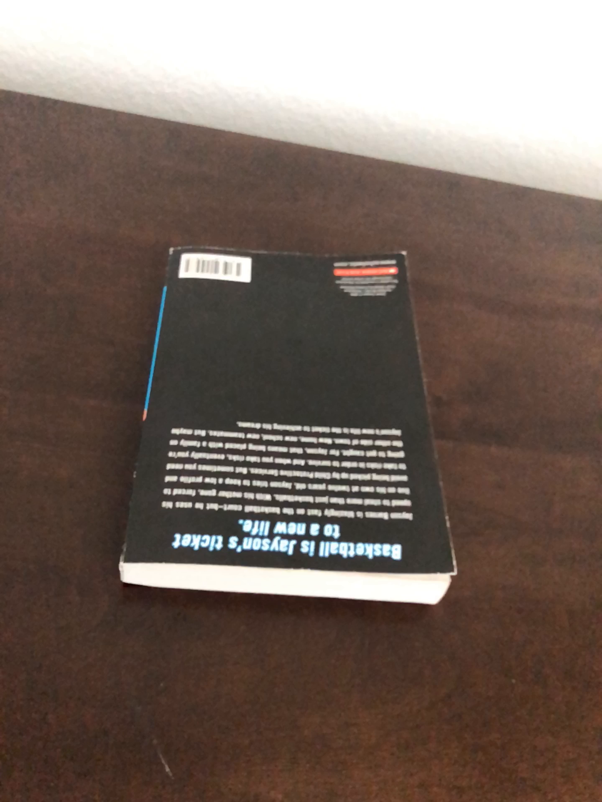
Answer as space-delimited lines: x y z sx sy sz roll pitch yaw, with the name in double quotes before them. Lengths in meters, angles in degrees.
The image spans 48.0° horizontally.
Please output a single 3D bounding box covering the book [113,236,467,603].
"book" -0.006 -0.002 0.343 0.140 0.036 0.199 3 50 -6
